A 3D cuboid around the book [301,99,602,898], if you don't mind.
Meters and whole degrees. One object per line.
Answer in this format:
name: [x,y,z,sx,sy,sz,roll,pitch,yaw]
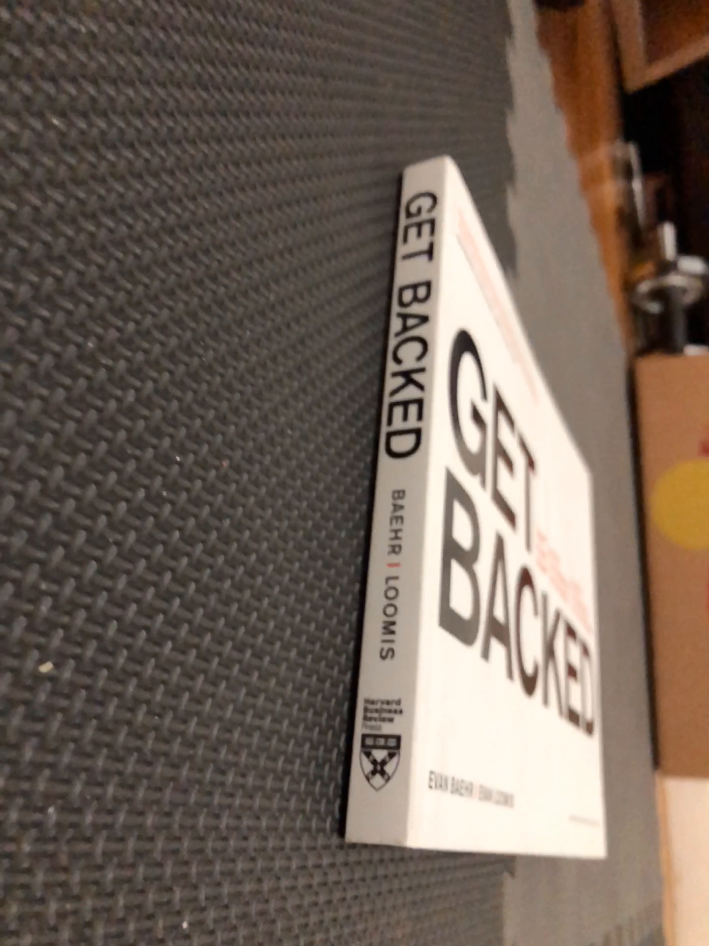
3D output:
book: [0.061,0.038,0.306,0.261,0.020,0.210,45,46,-55]
